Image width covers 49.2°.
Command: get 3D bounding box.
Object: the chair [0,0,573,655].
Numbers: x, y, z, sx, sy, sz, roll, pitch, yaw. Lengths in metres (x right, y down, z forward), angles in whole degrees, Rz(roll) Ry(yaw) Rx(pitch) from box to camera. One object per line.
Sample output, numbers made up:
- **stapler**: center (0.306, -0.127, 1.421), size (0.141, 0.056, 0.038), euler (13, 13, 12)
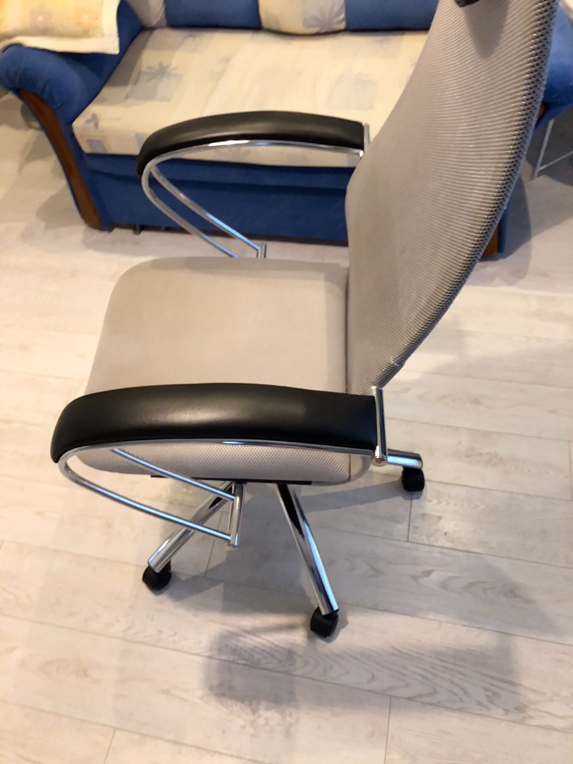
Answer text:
- **chair**: center (-0.088, -0.151, 0.923), size (0.690, 1.153, 0.684), euler (5, 54, 10)
